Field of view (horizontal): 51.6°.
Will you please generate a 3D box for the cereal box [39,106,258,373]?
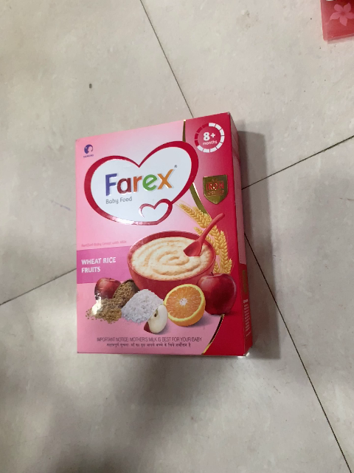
[{"bbox_3d":[-0.027,0.007,0.308,0.170,0.050,0.190,-5,83,17],"label":"cereal box"}]
